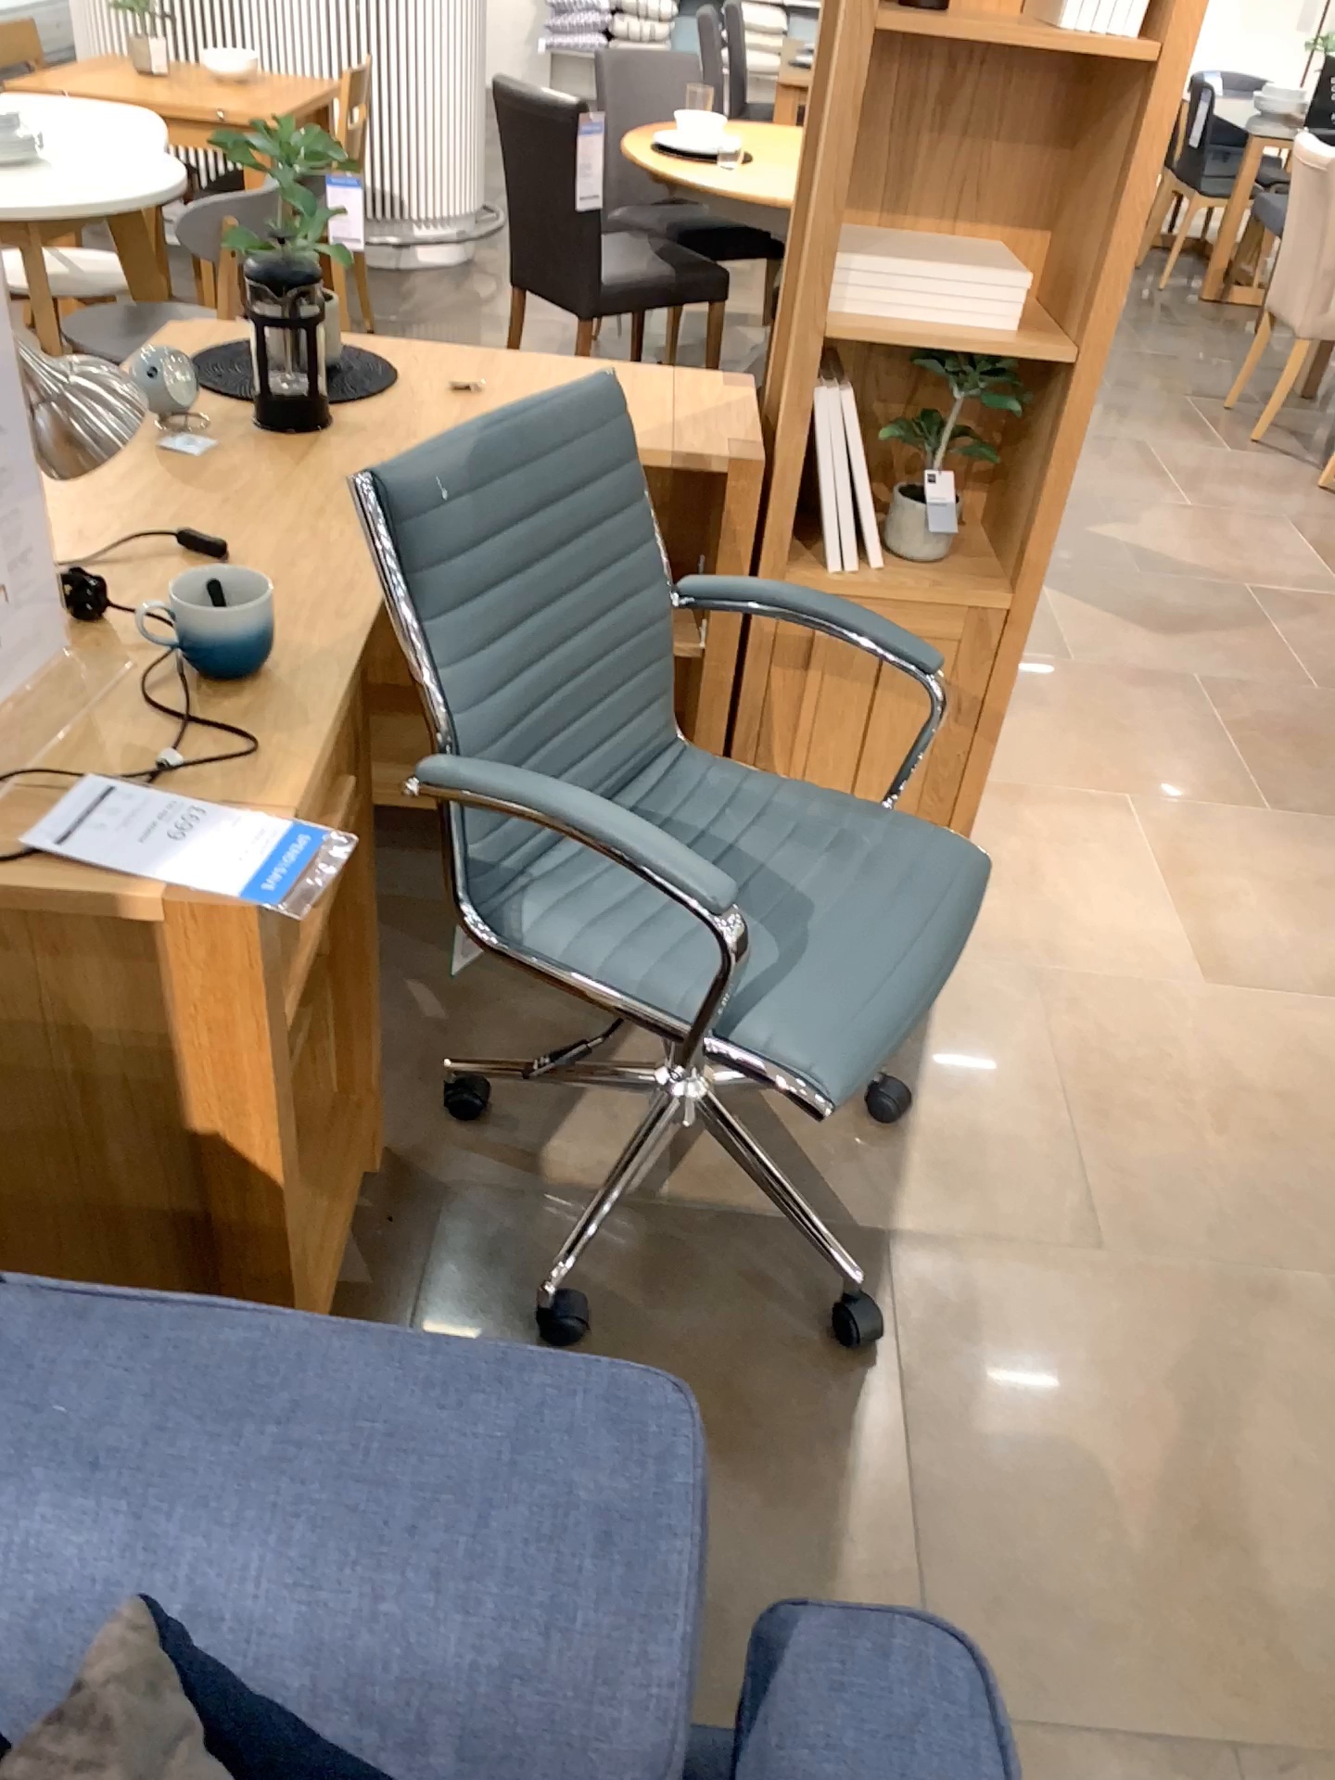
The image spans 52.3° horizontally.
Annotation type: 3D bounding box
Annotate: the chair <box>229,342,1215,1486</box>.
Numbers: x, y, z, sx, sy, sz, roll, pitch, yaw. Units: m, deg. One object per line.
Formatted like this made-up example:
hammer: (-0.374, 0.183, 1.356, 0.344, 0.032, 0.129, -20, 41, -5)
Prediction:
chair: (0.053, -0.019, 1.533, 0.708, 0.883, 0.669, 22, 39, 20)
